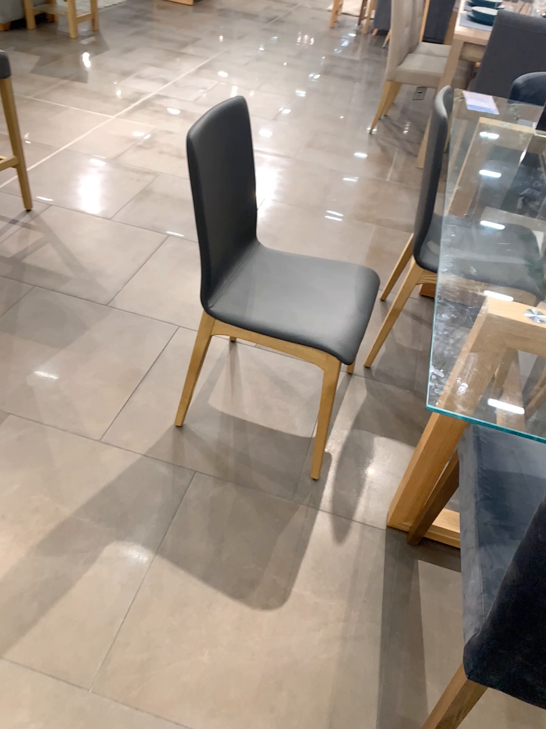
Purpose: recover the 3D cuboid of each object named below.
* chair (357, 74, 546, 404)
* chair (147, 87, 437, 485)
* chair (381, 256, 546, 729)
[{"bbox_3d":[0.657,-0.407,1.858,0.496,0.833,0.527,16,41,7],"label":"chair"},{"bbox_3d":[0.037,-0.216,1.554,0.536,0.813,0.567,18,41,10],"label":"chair"},{"bbox_3d":[0.576,0.362,0.996,0.542,0.813,0.592,13,41,4],"label":"chair"}]
